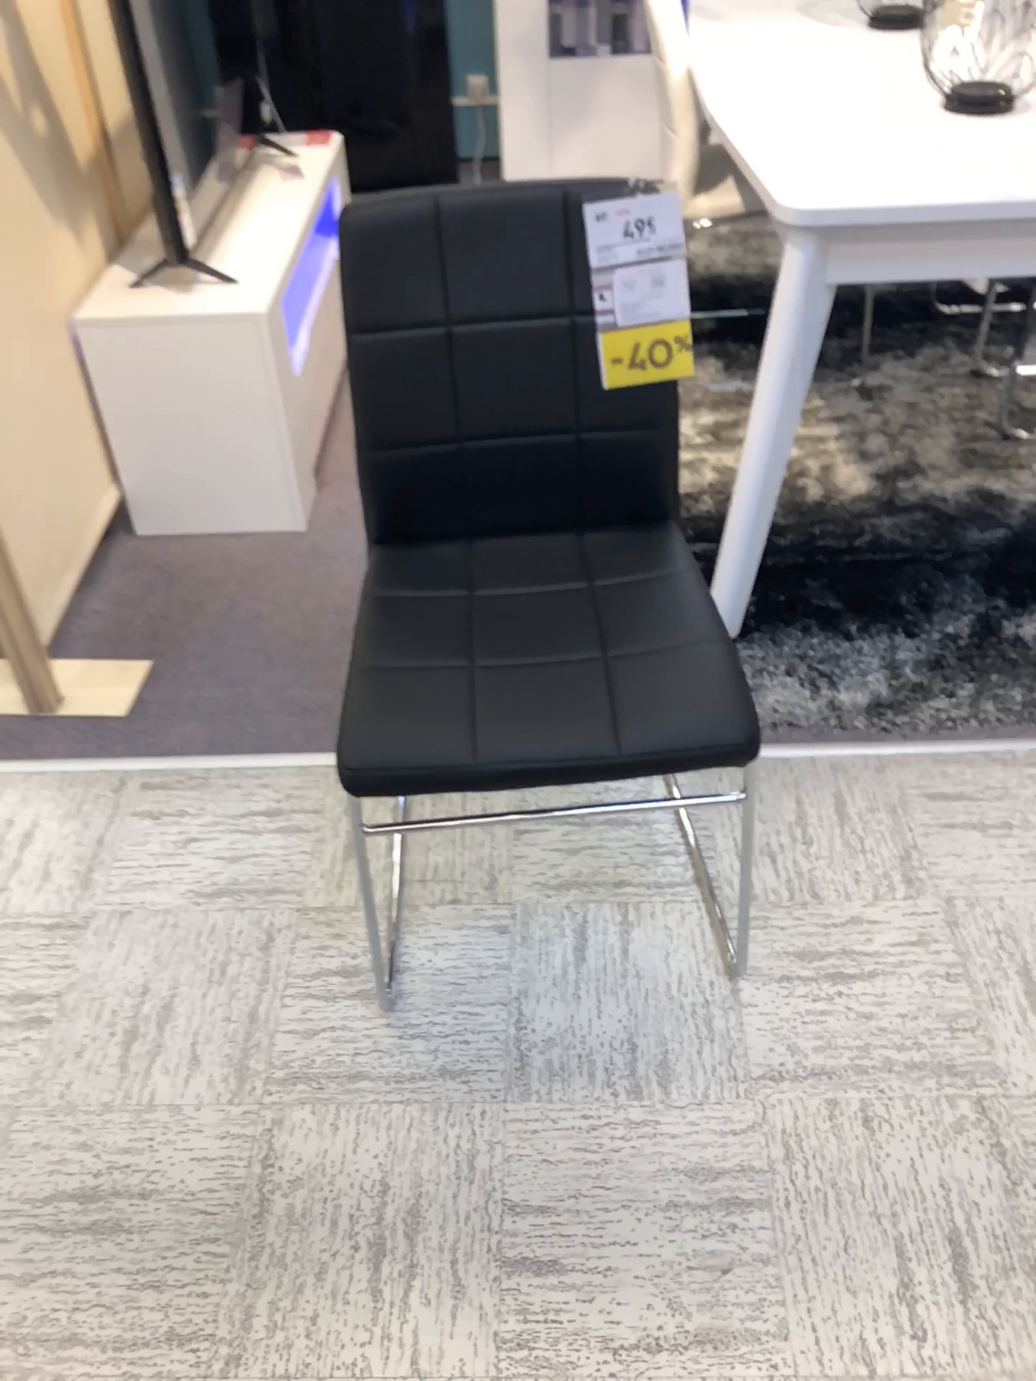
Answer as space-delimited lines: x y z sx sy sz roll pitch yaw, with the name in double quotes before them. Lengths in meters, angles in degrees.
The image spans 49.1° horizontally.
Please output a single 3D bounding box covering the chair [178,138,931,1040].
"chair" 0.033 -0.115 1.324 0.550 0.795 0.634 -4 40 0
